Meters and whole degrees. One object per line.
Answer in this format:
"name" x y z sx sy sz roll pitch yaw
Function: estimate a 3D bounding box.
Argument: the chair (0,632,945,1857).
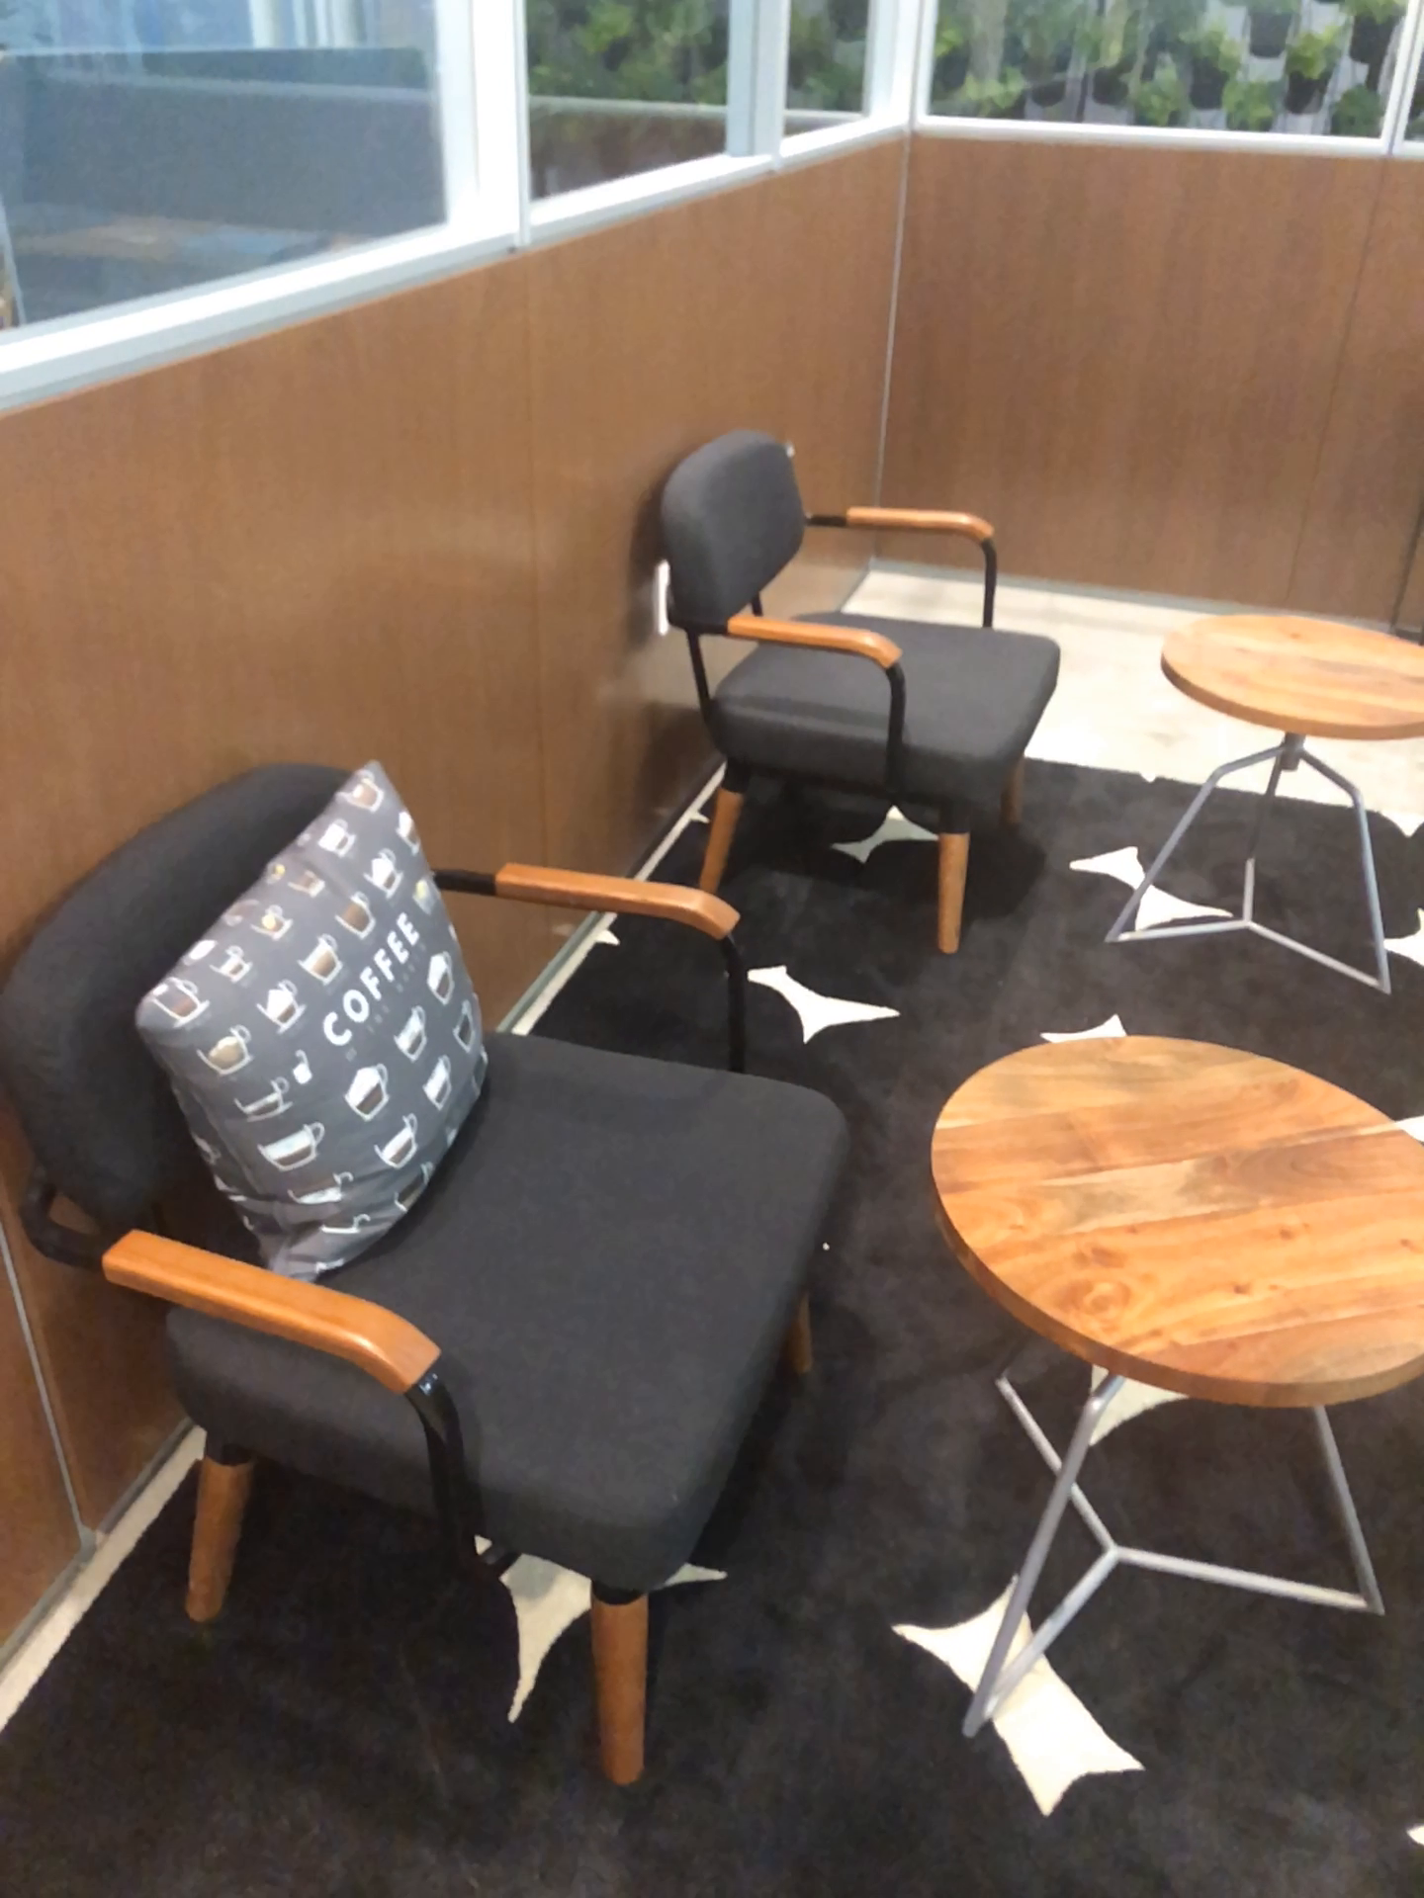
"chair" -0.158 0.193 1.454 0.569 0.714 0.737 8 32 18

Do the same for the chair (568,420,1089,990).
"chair" 0.229 -0.459 2.711 0.679 0.714 0.686 8 32 18
